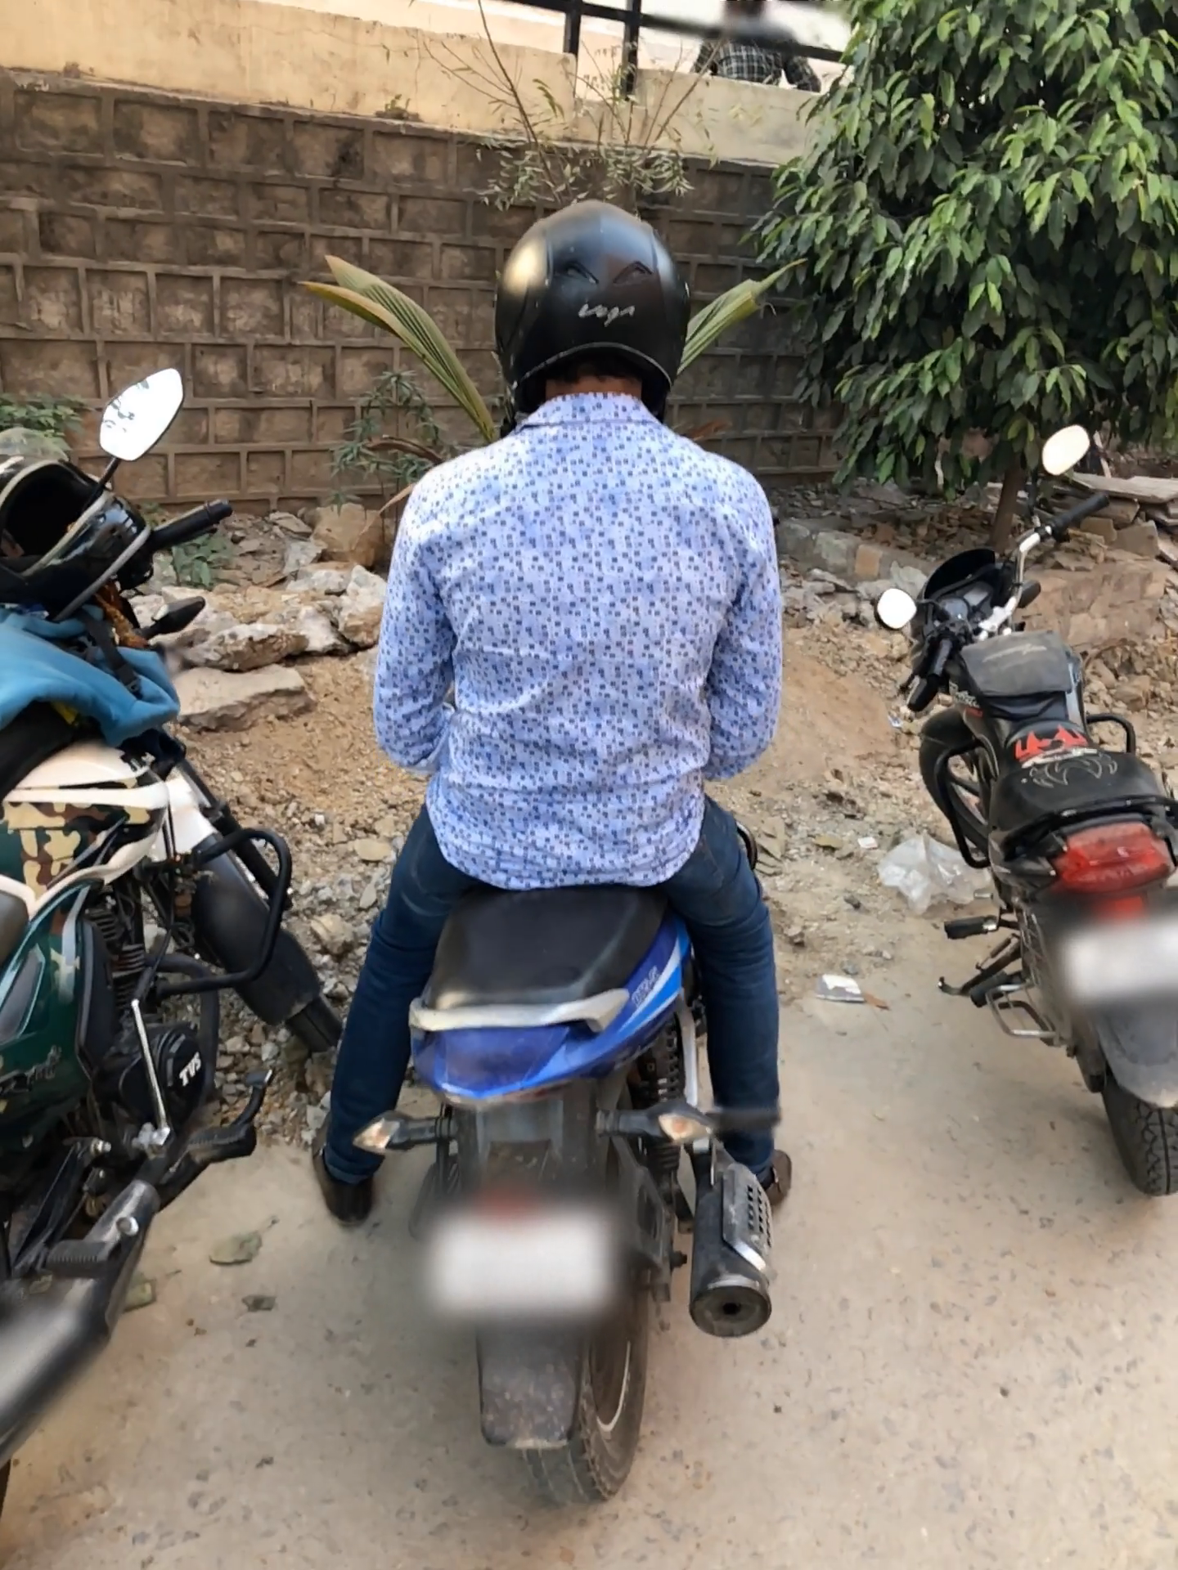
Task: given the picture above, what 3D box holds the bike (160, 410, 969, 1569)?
[{"bbox_3d":[-0.027,0.140,2.118,0.753,1.077,1.585,6,27,1],"label":"bike"}]
